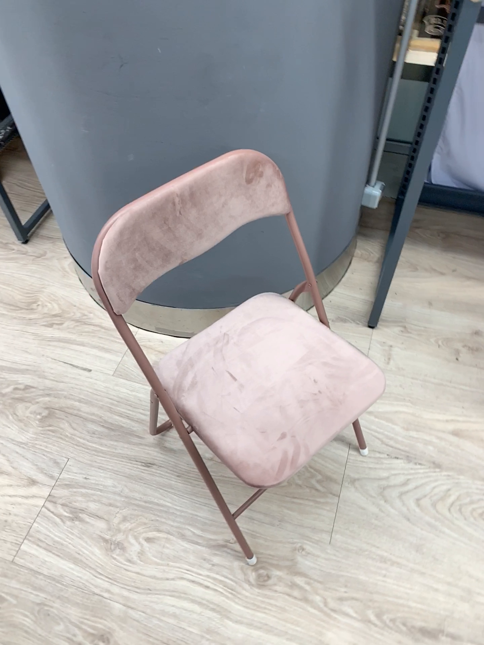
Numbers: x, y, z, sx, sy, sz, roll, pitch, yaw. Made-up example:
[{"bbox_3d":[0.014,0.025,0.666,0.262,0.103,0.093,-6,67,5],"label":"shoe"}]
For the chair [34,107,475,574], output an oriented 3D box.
[{"bbox_3d":[0.020,0.092,1.057,0.460,0.797,0.481,-37,60,-24],"label":"chair"}]
